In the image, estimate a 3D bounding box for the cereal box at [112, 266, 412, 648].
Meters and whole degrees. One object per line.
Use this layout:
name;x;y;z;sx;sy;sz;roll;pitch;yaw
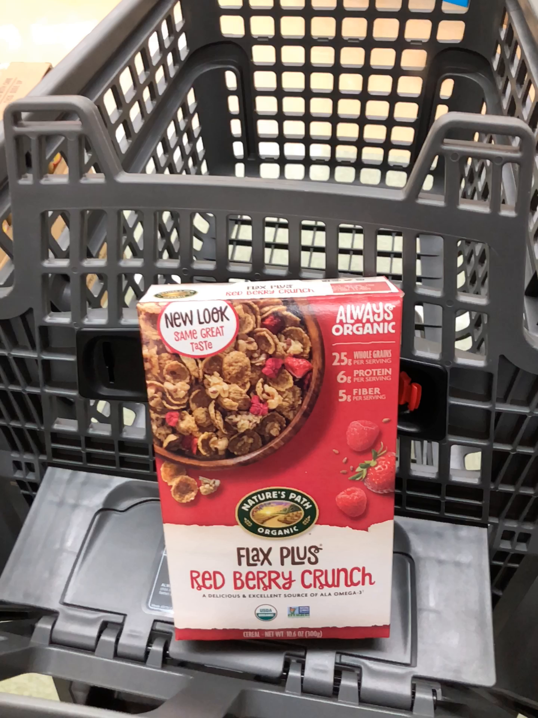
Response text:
cereal box;0.002;0.071;0.408;0.170;0.250;0.070;-2;18;3
